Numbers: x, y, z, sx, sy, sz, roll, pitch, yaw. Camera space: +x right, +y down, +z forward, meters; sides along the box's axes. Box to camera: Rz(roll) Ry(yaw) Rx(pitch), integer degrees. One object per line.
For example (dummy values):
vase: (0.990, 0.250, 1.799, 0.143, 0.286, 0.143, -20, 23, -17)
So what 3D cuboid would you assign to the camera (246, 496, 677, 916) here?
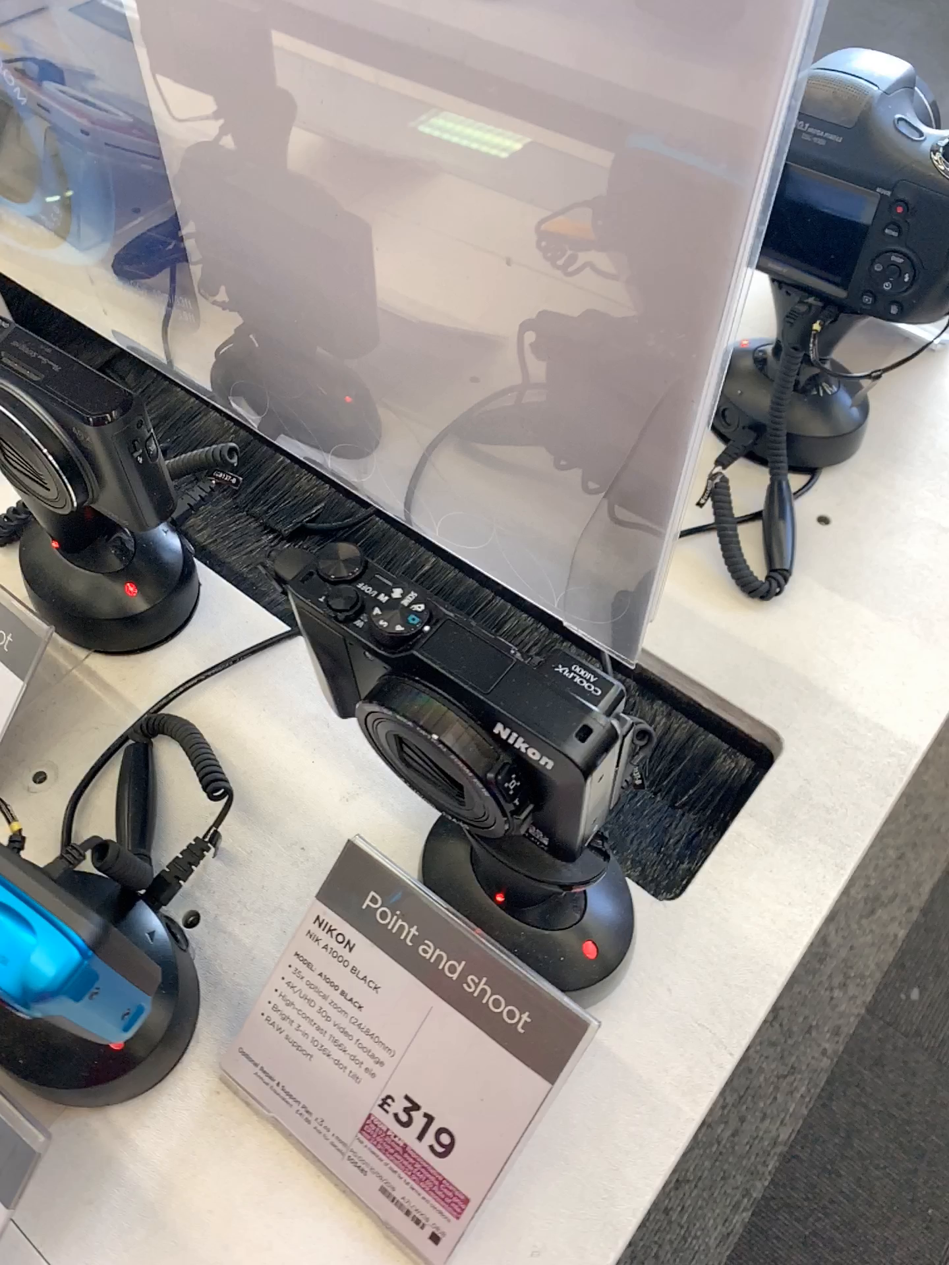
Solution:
camera: (-0.007, 0.023, 0.288, 0.120, 0.079, 0.030, 33, 62, 20)
